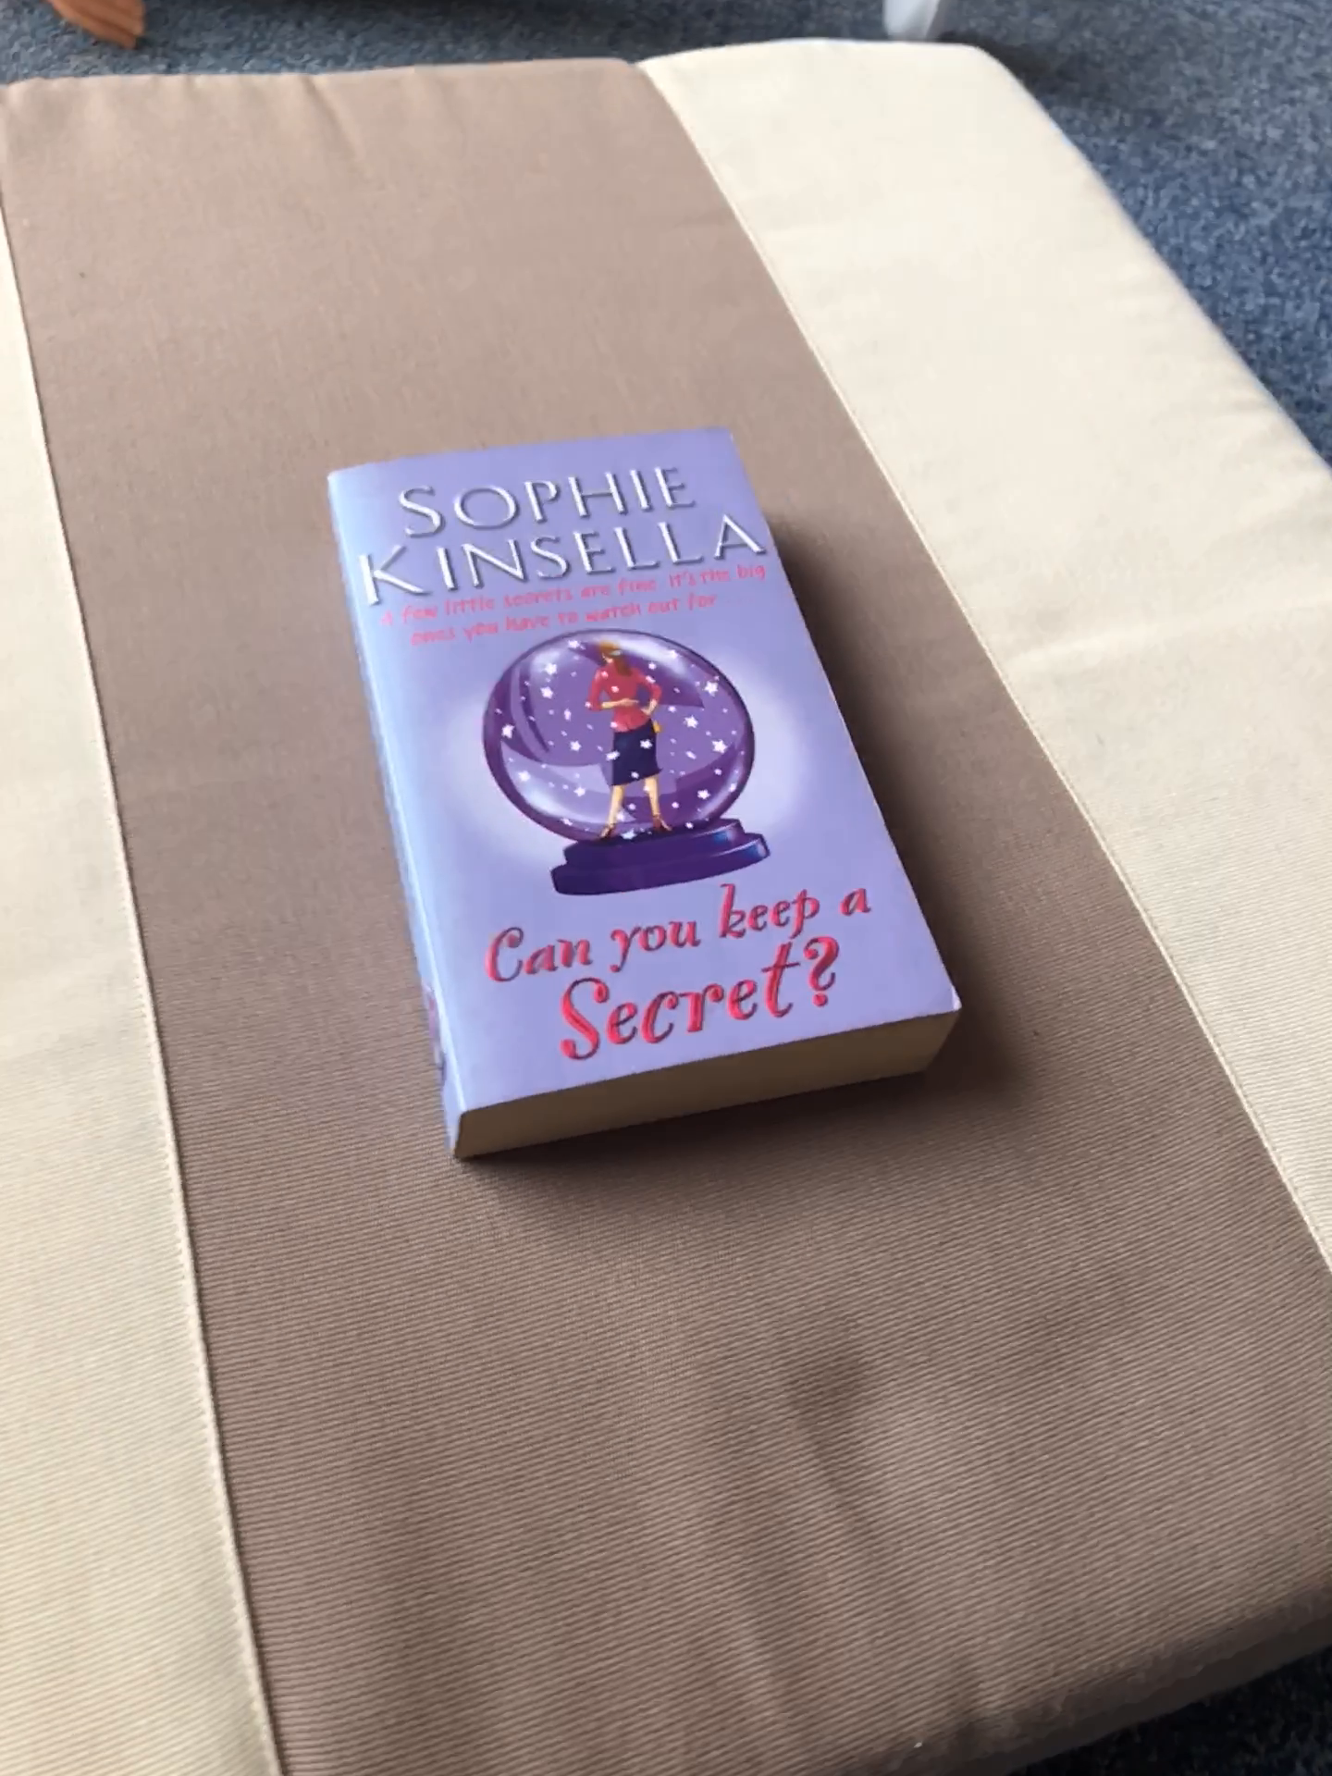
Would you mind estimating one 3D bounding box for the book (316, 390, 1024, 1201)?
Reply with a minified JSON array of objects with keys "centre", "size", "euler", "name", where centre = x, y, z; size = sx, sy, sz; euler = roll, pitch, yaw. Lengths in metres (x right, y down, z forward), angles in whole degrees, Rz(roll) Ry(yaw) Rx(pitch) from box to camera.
[{"centre":[-0.009,-0.032,0.331],"size":[0.110,0.040,0.180],"euler":[-9,59,-14],"name":"book"}]
